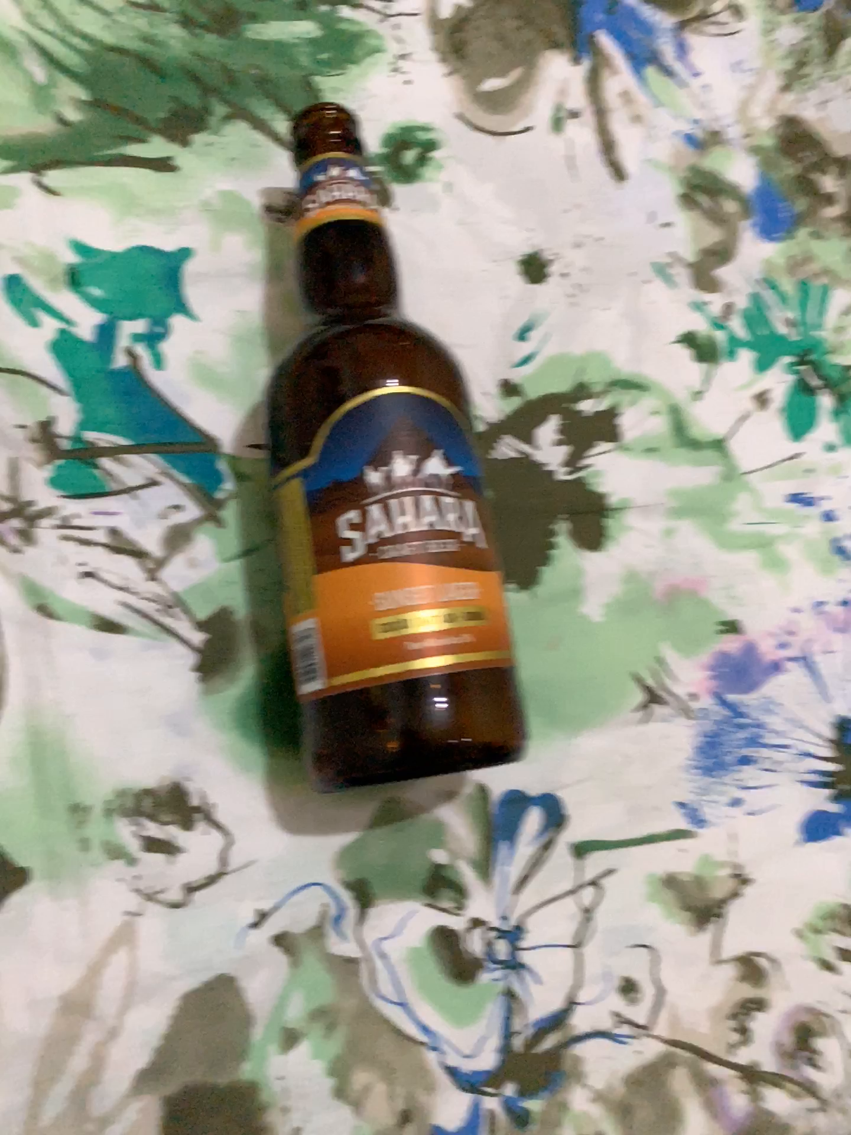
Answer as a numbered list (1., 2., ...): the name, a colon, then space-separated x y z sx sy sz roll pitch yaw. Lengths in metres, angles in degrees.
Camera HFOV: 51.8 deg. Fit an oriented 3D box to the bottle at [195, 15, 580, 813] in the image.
1. bottle: -0.022 -0.051 0.304 0.080 0.070 0.250 -5 78 -23
